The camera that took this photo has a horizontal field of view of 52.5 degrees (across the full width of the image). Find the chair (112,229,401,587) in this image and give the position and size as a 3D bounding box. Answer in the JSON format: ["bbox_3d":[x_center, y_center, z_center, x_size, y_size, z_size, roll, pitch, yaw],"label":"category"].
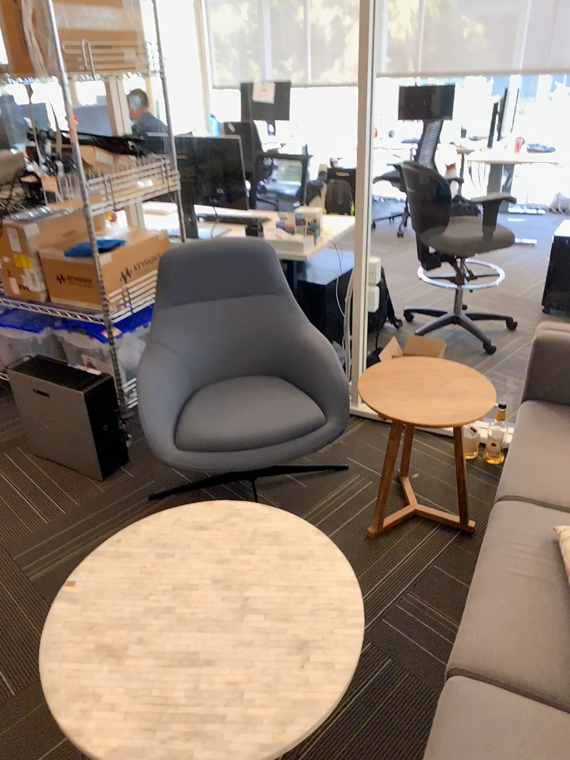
[{"bbox_3d":[-0.137,0.032,2.329,0.840,0.964,1.006,-7,29,-8],"label":"chair"}]
